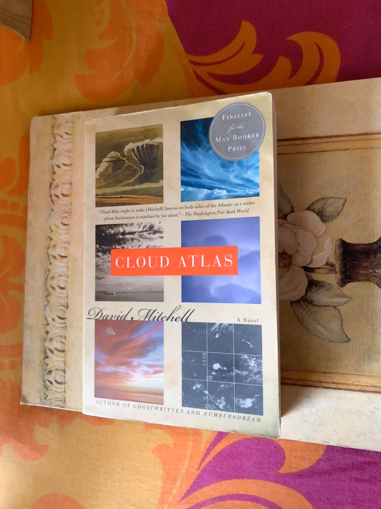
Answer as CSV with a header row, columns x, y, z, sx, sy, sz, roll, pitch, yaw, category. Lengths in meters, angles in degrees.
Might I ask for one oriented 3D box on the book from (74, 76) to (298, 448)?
x,y,z,sx,sy,sz,roll,pitch,yaw,category
-0.003,0.003,0.246,0.130,0.040,0.190,-1,86,21,book
